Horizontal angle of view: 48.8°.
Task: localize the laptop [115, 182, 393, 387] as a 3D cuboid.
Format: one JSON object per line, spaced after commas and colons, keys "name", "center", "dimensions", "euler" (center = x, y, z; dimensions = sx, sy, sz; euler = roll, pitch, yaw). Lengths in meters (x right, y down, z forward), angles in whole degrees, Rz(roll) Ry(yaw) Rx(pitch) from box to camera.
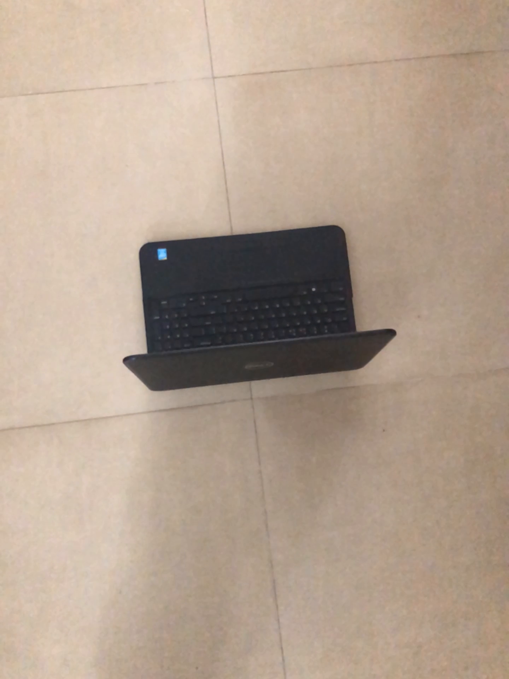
{"name": "laptop", "center": [-0.006, -0.070, 0.871], "dimensions": [0.351, 0.228, 0.247], "euler": [-6, 84, -2]}
